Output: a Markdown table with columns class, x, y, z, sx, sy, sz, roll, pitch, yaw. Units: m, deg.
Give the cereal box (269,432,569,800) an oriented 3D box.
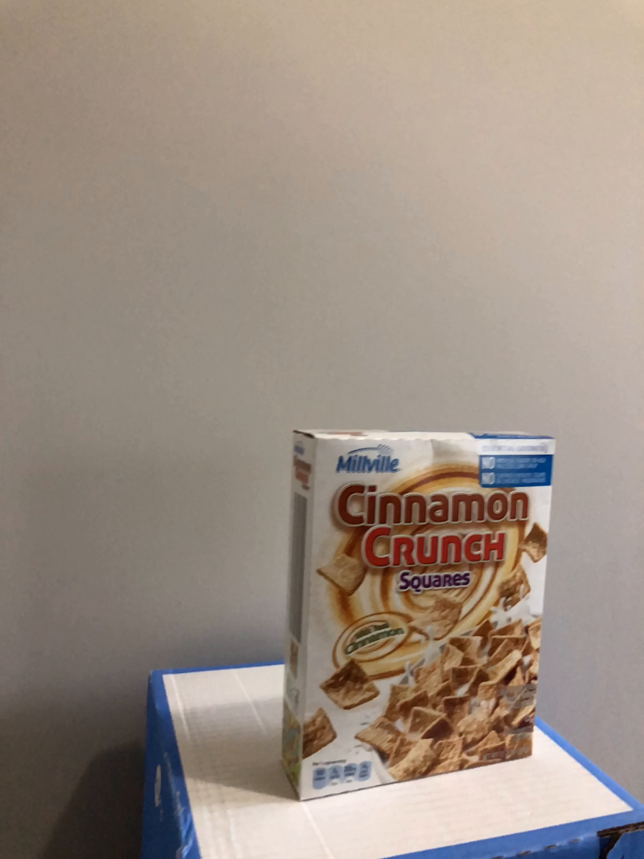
| class | x | y | z | sx | sy | sz | roll | pitch | yaw |
| --- | --- | --- | --- | --- | --- | --- | --- | --- | --- |
| cereal box | 0.074 | 0.130 | 0.554 | 0.210 | 0.250 | 0.070 | 0 | 5 | -21 |
